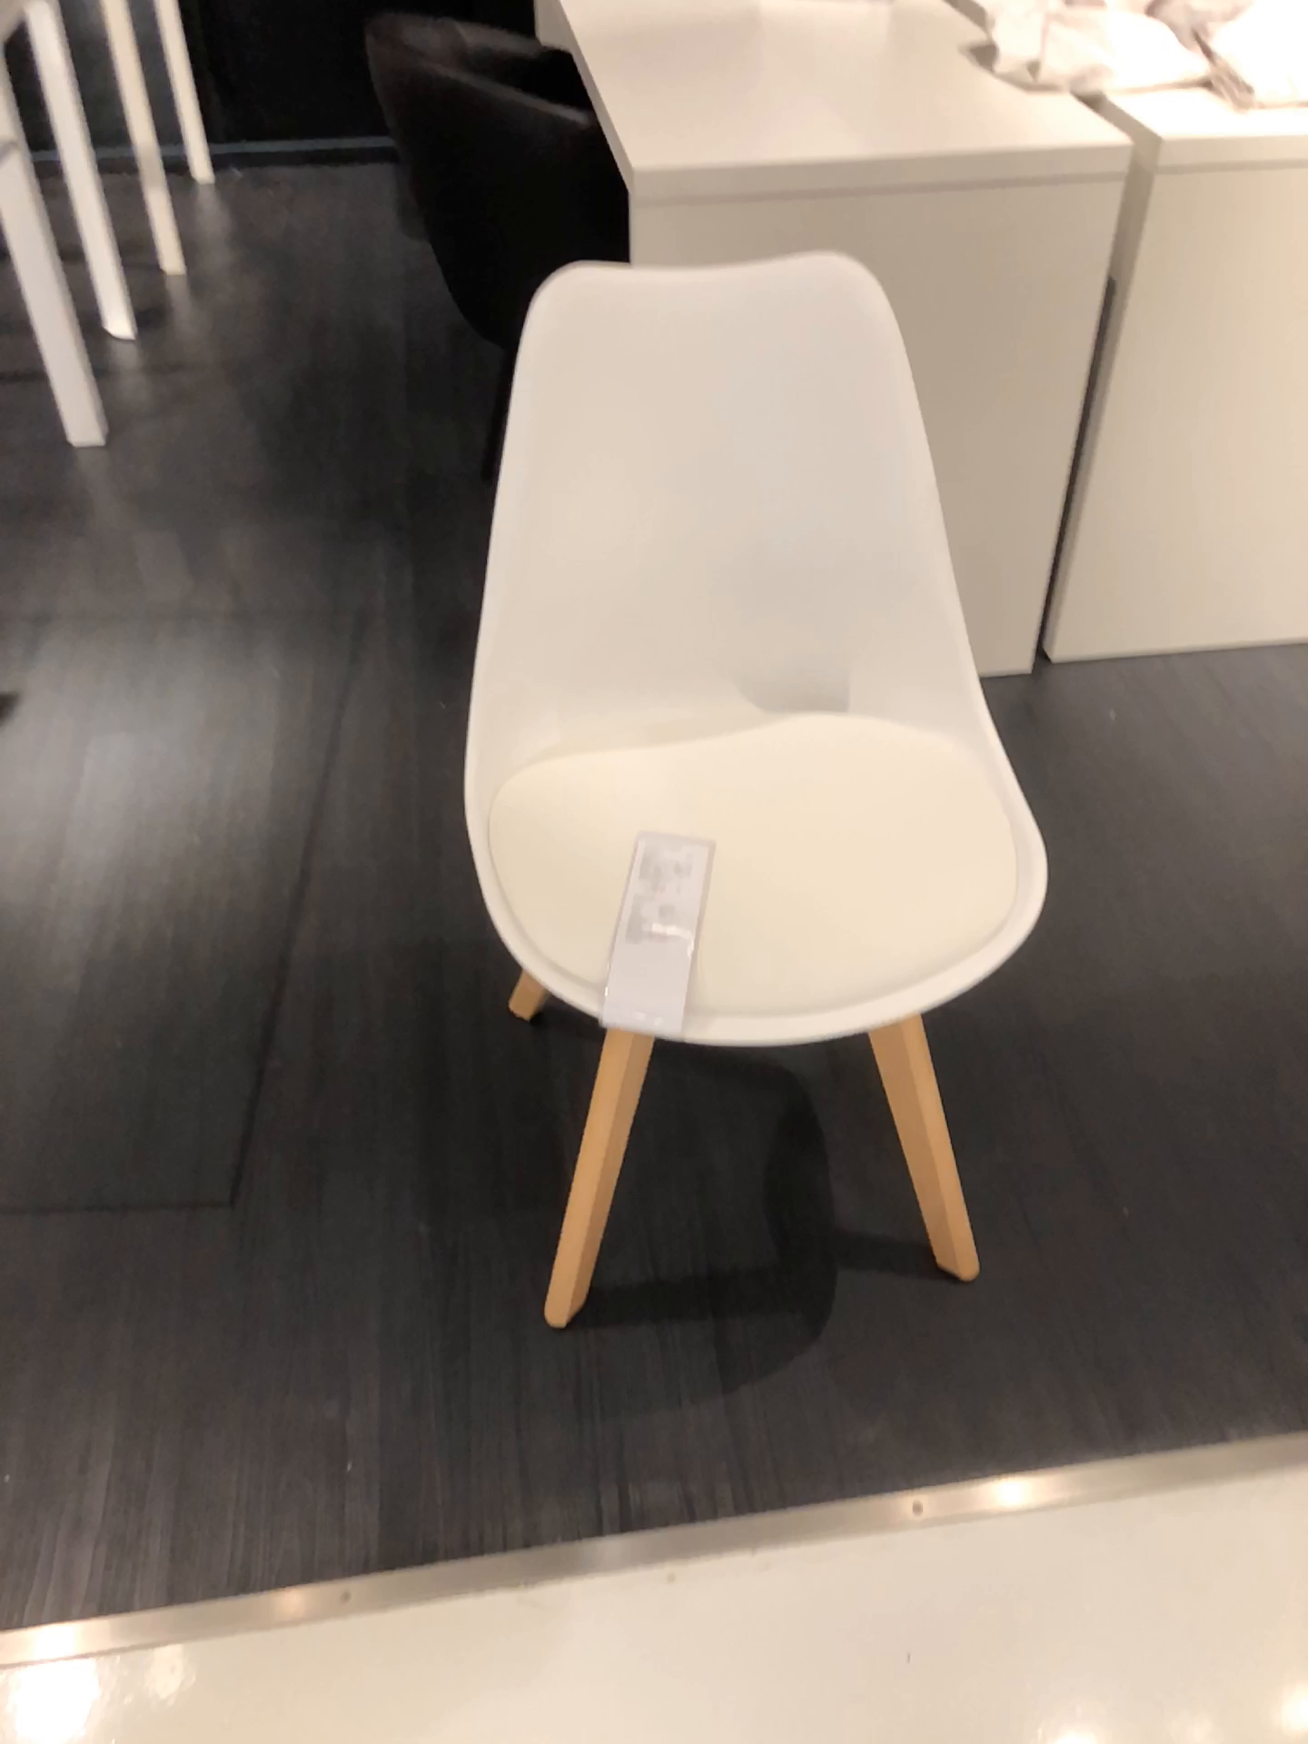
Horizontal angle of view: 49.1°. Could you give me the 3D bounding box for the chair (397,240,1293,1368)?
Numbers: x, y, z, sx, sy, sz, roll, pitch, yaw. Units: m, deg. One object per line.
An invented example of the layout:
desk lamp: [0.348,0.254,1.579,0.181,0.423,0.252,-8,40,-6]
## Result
chair: [0.085,-0.047,1.243,0.500,0.784,0.534,-4,40,-4]
